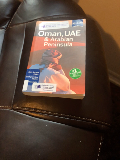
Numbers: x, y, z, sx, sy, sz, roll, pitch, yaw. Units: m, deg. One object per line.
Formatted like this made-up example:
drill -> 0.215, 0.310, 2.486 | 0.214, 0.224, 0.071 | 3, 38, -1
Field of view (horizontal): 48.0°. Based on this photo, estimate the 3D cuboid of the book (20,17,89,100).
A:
book -> -0.005, -0.059, 0.318 | 0.137, 0.030, 0.203 | 2, 68, 6
